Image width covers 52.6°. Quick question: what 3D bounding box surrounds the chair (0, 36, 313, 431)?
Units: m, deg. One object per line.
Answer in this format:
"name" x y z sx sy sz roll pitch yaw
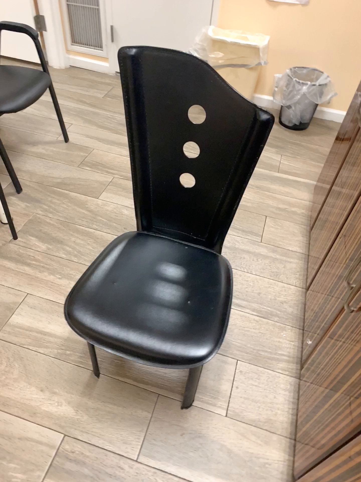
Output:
"chair" -0.036 0.054 1.020 0.462 0.941 0.475 16 47 9
